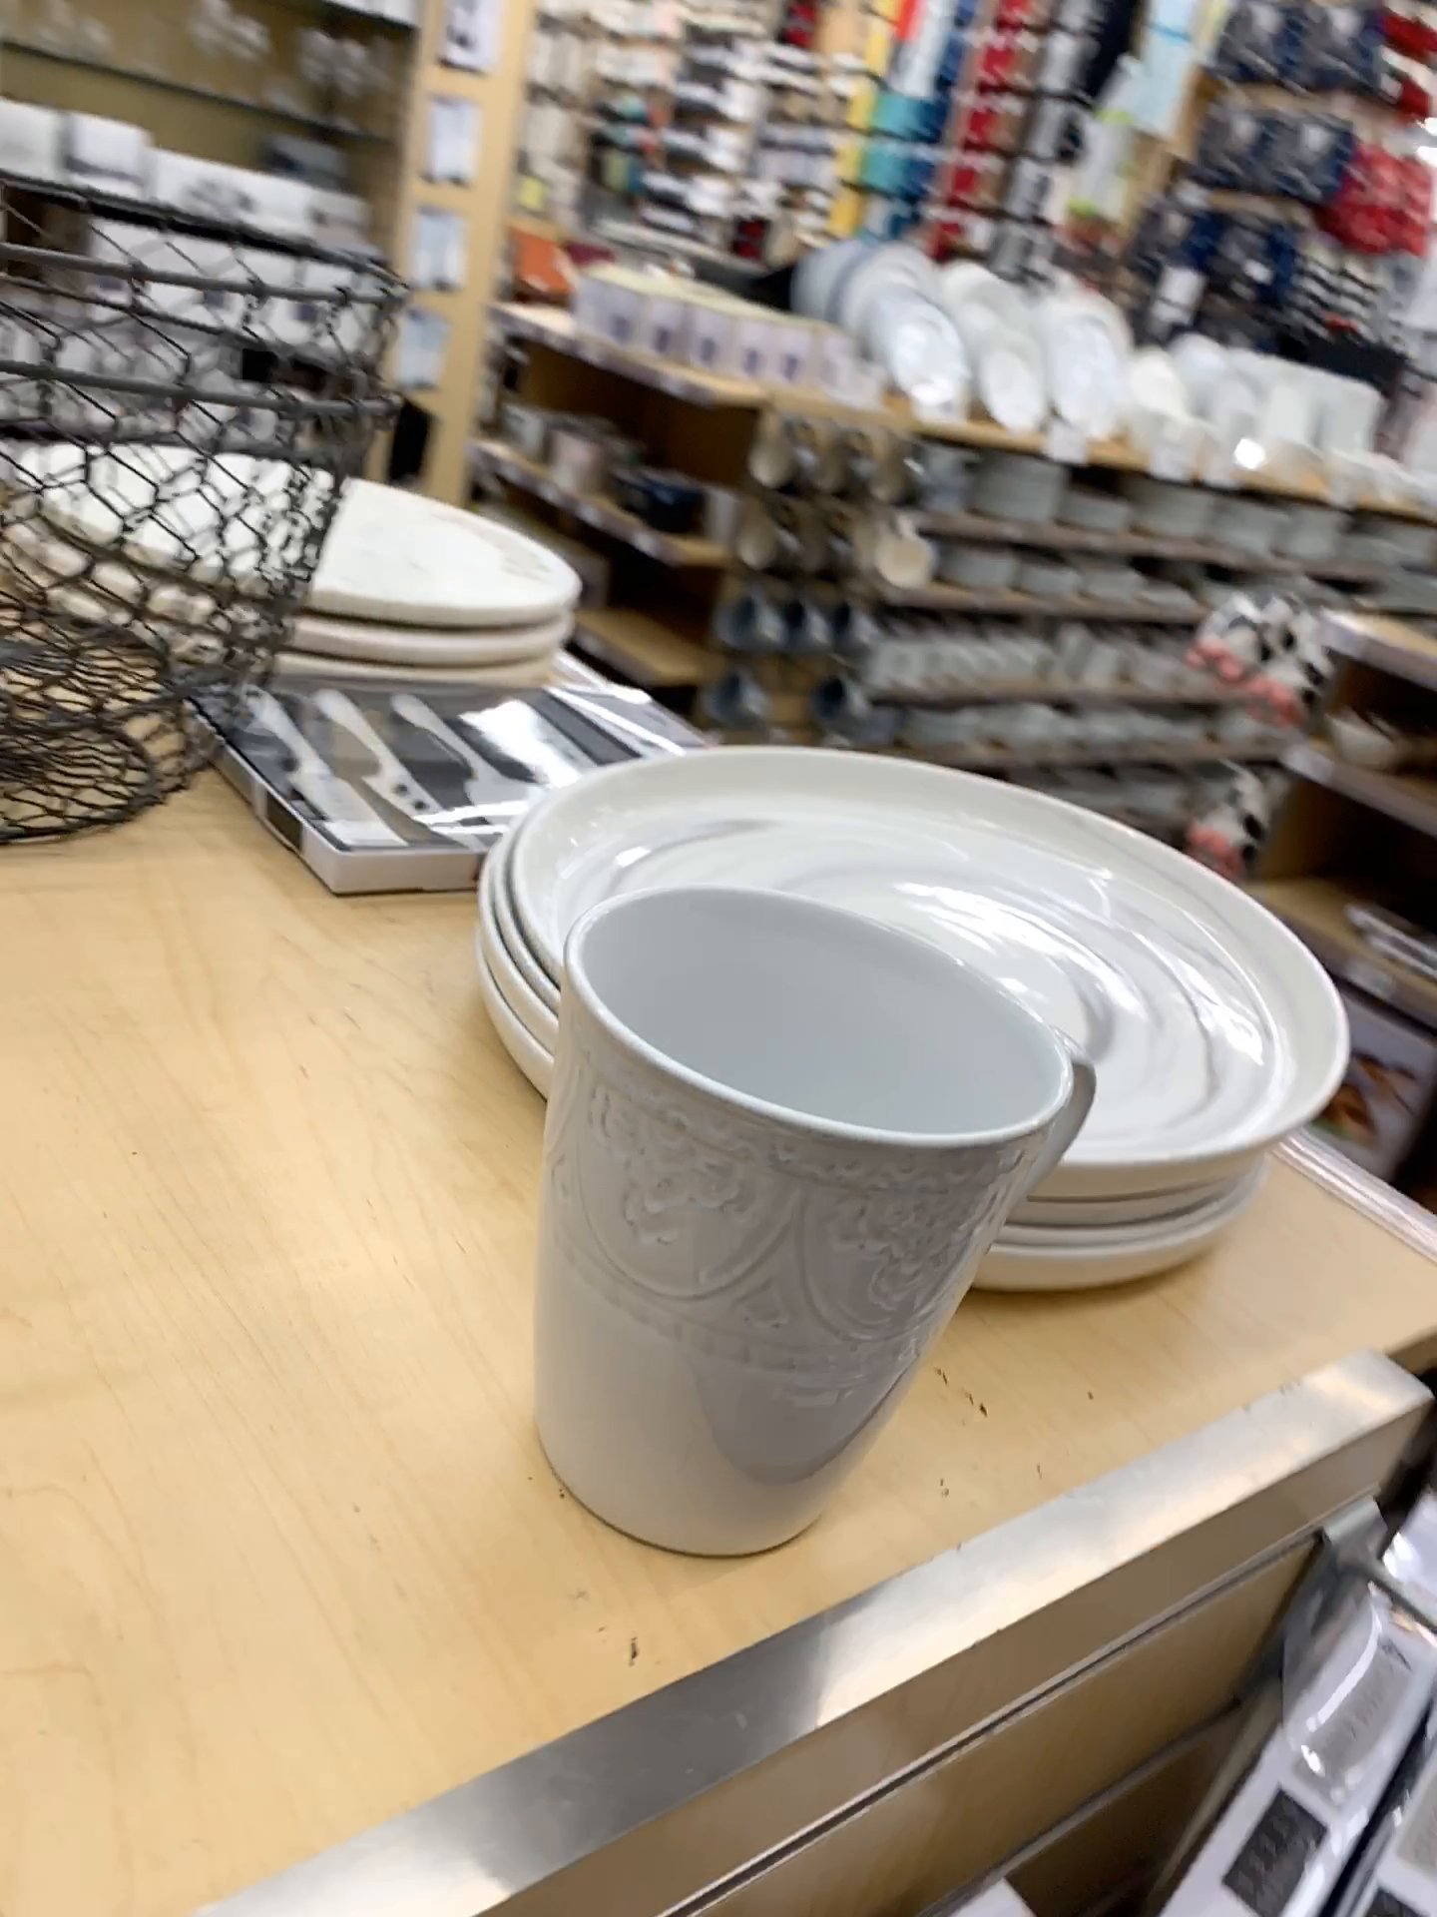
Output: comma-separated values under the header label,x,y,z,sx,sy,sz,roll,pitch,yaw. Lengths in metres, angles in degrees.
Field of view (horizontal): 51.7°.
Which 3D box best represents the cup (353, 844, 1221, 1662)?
label,x,y,z,sx,sy,sz,roll,pitch,yaw
cup,0.008,0.048,0.309,0.125,0.107,0.099,-5,33,-35
